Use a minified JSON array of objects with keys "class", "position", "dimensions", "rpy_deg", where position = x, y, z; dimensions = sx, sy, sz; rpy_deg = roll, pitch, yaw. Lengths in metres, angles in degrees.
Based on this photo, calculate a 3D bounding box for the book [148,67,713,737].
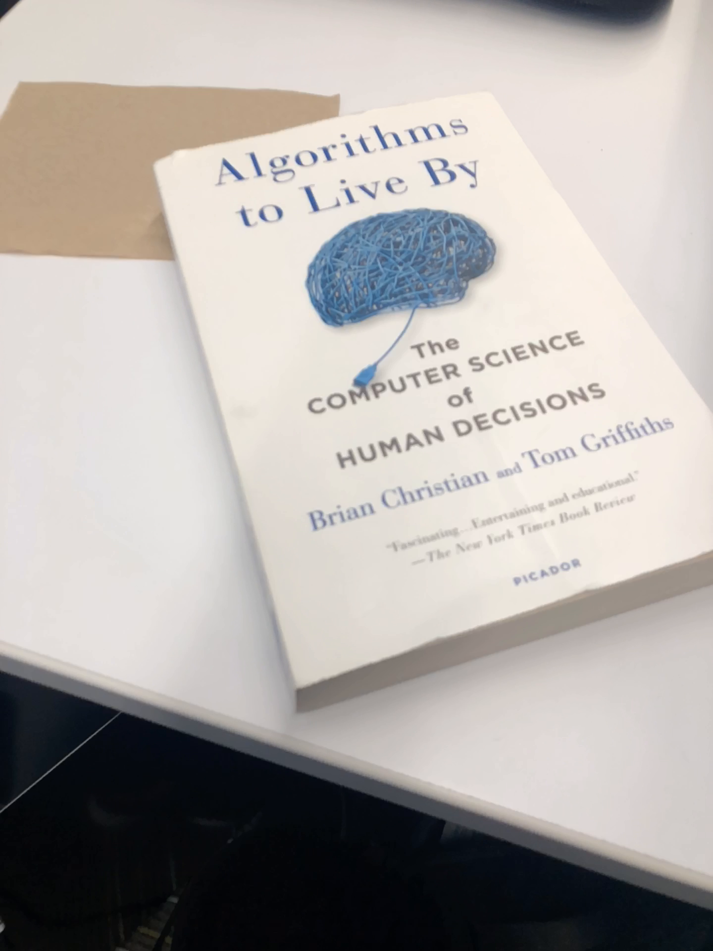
[{"class":"book","position":[0.031,-0.048,0.269],"dimensions":[0.160,0.040,0.221],"rpy_deg":[-15,58,-9]}]
